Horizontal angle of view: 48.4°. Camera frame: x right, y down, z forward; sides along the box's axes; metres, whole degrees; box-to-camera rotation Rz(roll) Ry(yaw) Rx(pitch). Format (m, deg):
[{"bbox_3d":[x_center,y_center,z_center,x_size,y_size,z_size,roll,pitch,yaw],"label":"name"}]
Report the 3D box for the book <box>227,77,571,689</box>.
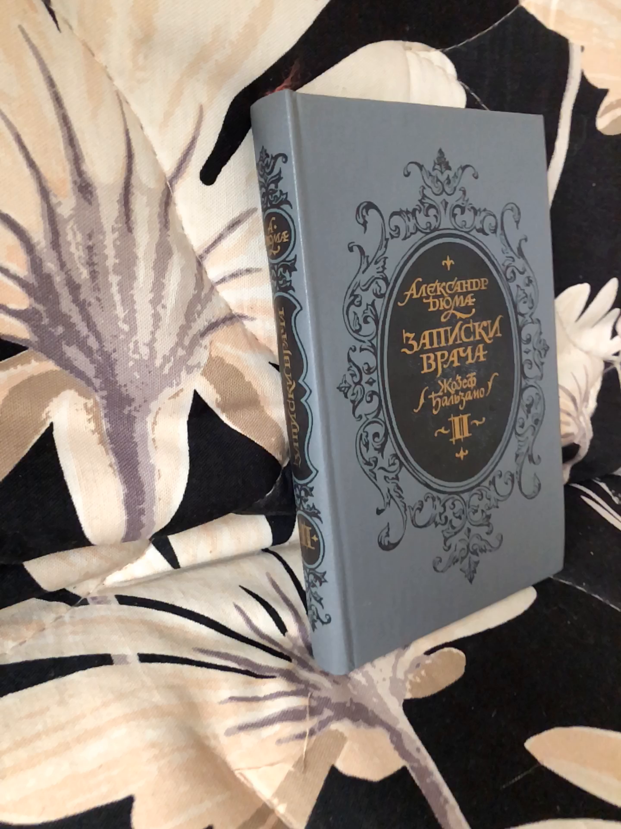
[{"bbox_3d":[0.047,-0.017,0.287,0.141,0.030,0.210,-12,100,-34],"label":"book"}]
